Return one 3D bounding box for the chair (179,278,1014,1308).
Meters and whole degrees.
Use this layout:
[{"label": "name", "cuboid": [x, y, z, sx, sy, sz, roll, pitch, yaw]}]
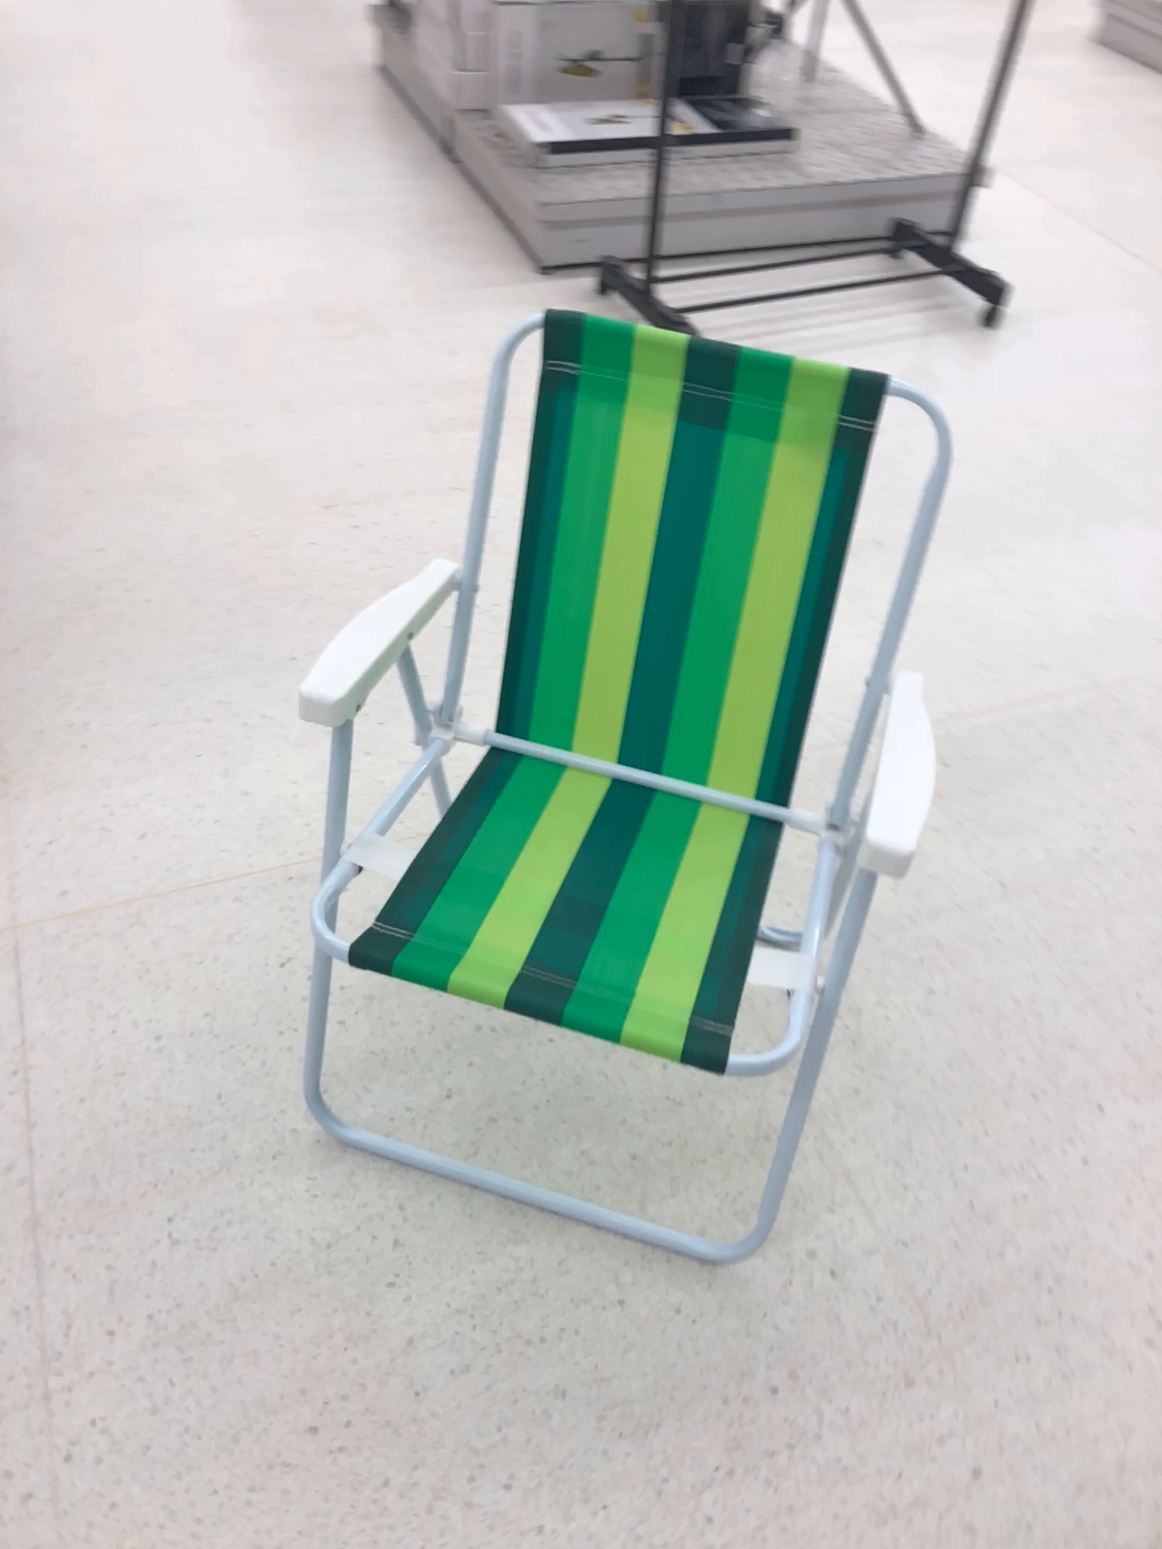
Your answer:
[{"label": "chair", "cuboid": [0.033, 0.023, 1.210, 0.510, 0.715, 0.524, 15, 44, 10]}]
